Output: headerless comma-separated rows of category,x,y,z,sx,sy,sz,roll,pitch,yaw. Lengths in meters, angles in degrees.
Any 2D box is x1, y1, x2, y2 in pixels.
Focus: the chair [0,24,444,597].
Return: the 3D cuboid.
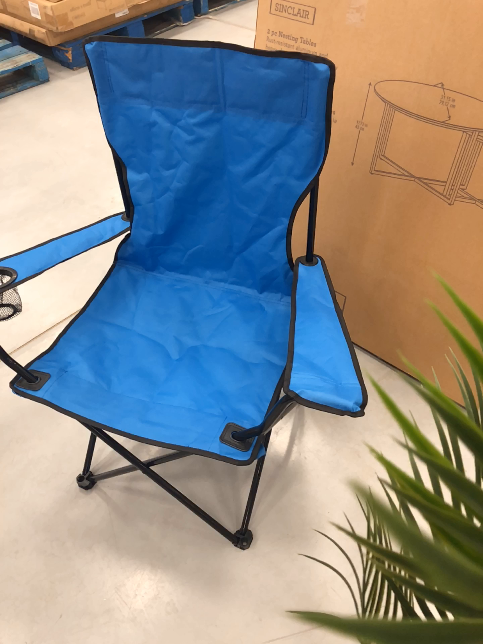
chair,-0.122,-0.025,1.094,0.791,0.837,0.622,13,49,16
